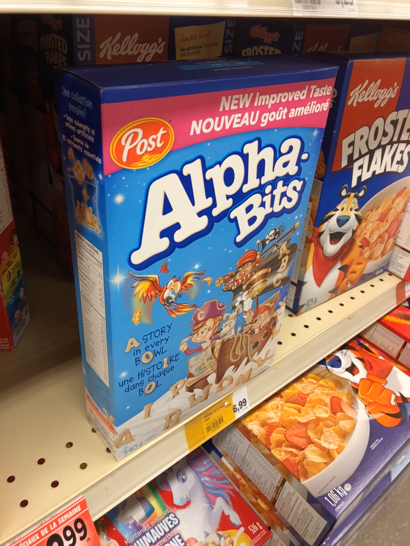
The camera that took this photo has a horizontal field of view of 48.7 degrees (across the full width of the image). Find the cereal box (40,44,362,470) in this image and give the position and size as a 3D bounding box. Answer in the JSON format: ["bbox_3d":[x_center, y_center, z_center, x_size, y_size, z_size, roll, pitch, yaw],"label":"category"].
[{"bbox_3d":[-0.004,-0.008,0.354,0.201,0.298,0.060,-22,44,-35],"label":"cereal box"}]
